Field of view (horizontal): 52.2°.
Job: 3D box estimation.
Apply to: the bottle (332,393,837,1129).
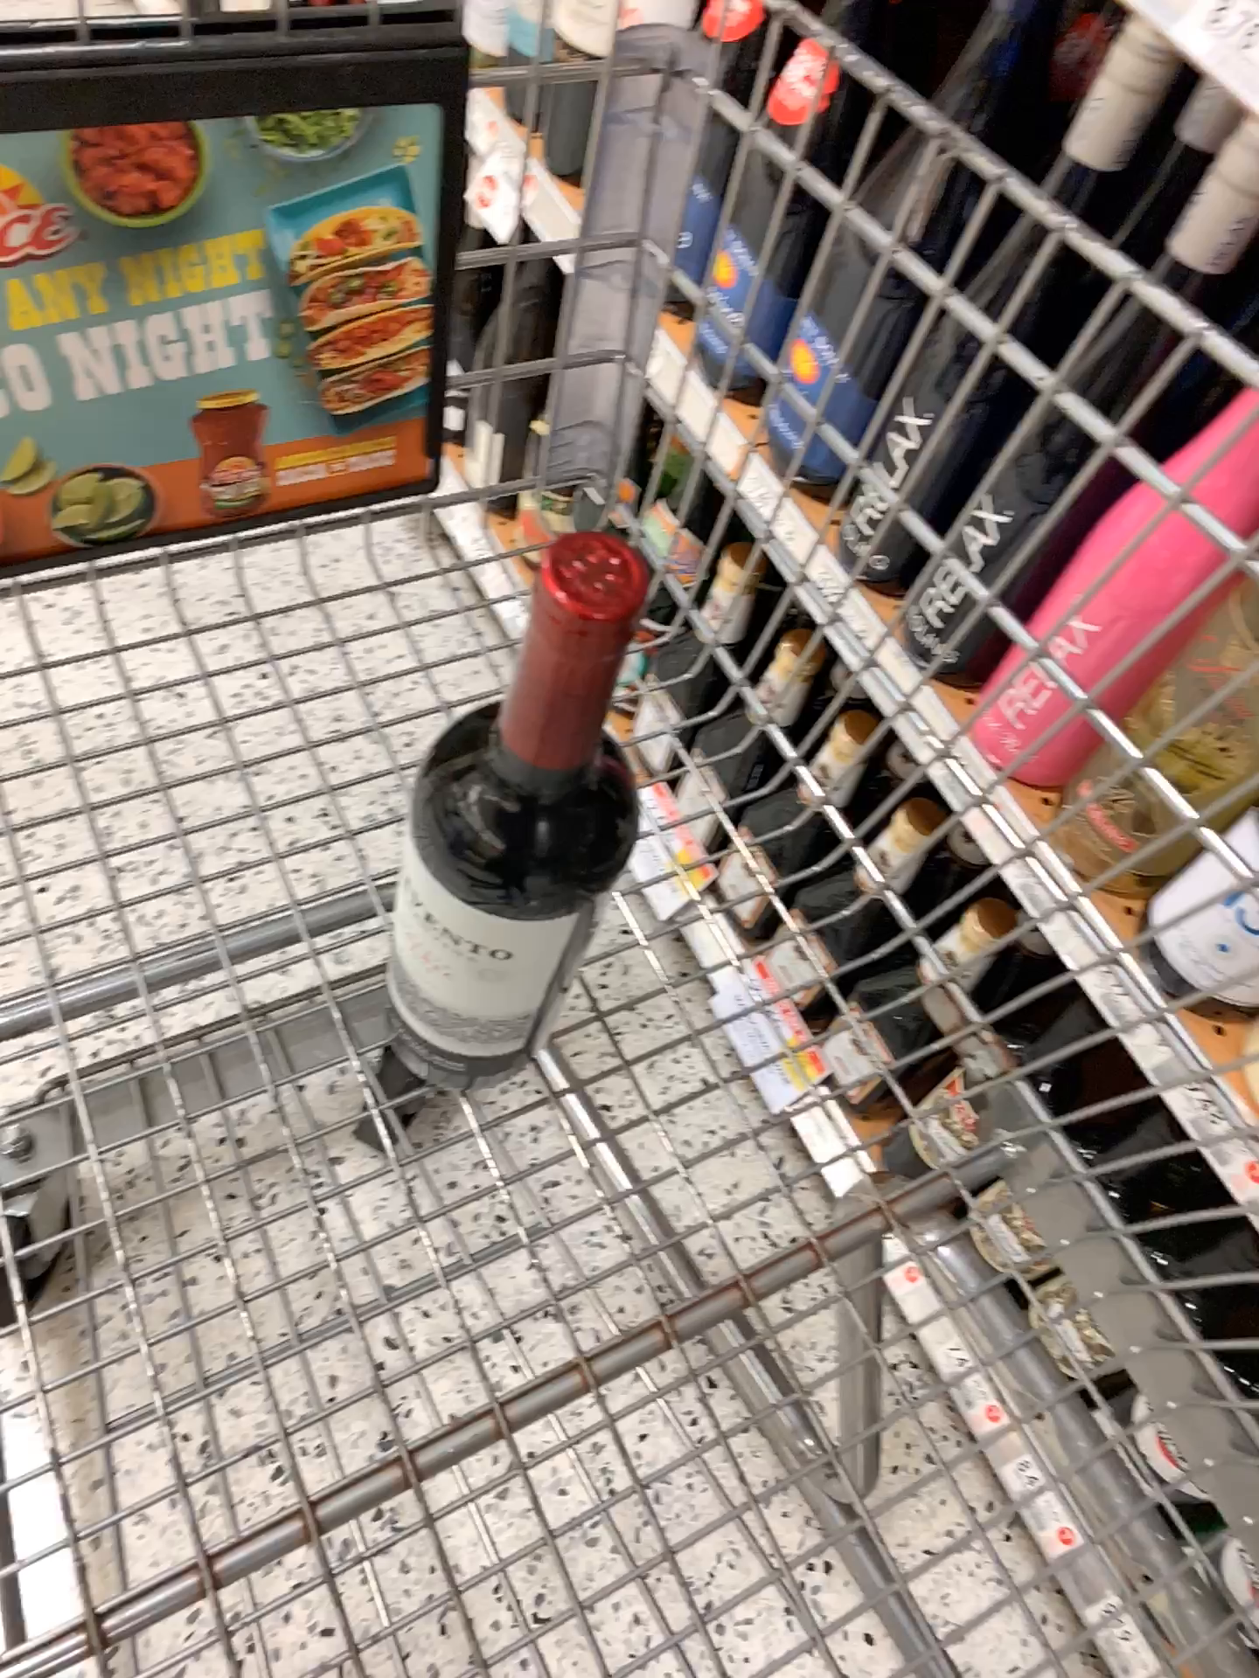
[{"bbox_3d":[-0.040,0.001,0.443,0.080,0.298,0.090,-29,73,-26],"label":"bottle"}]
